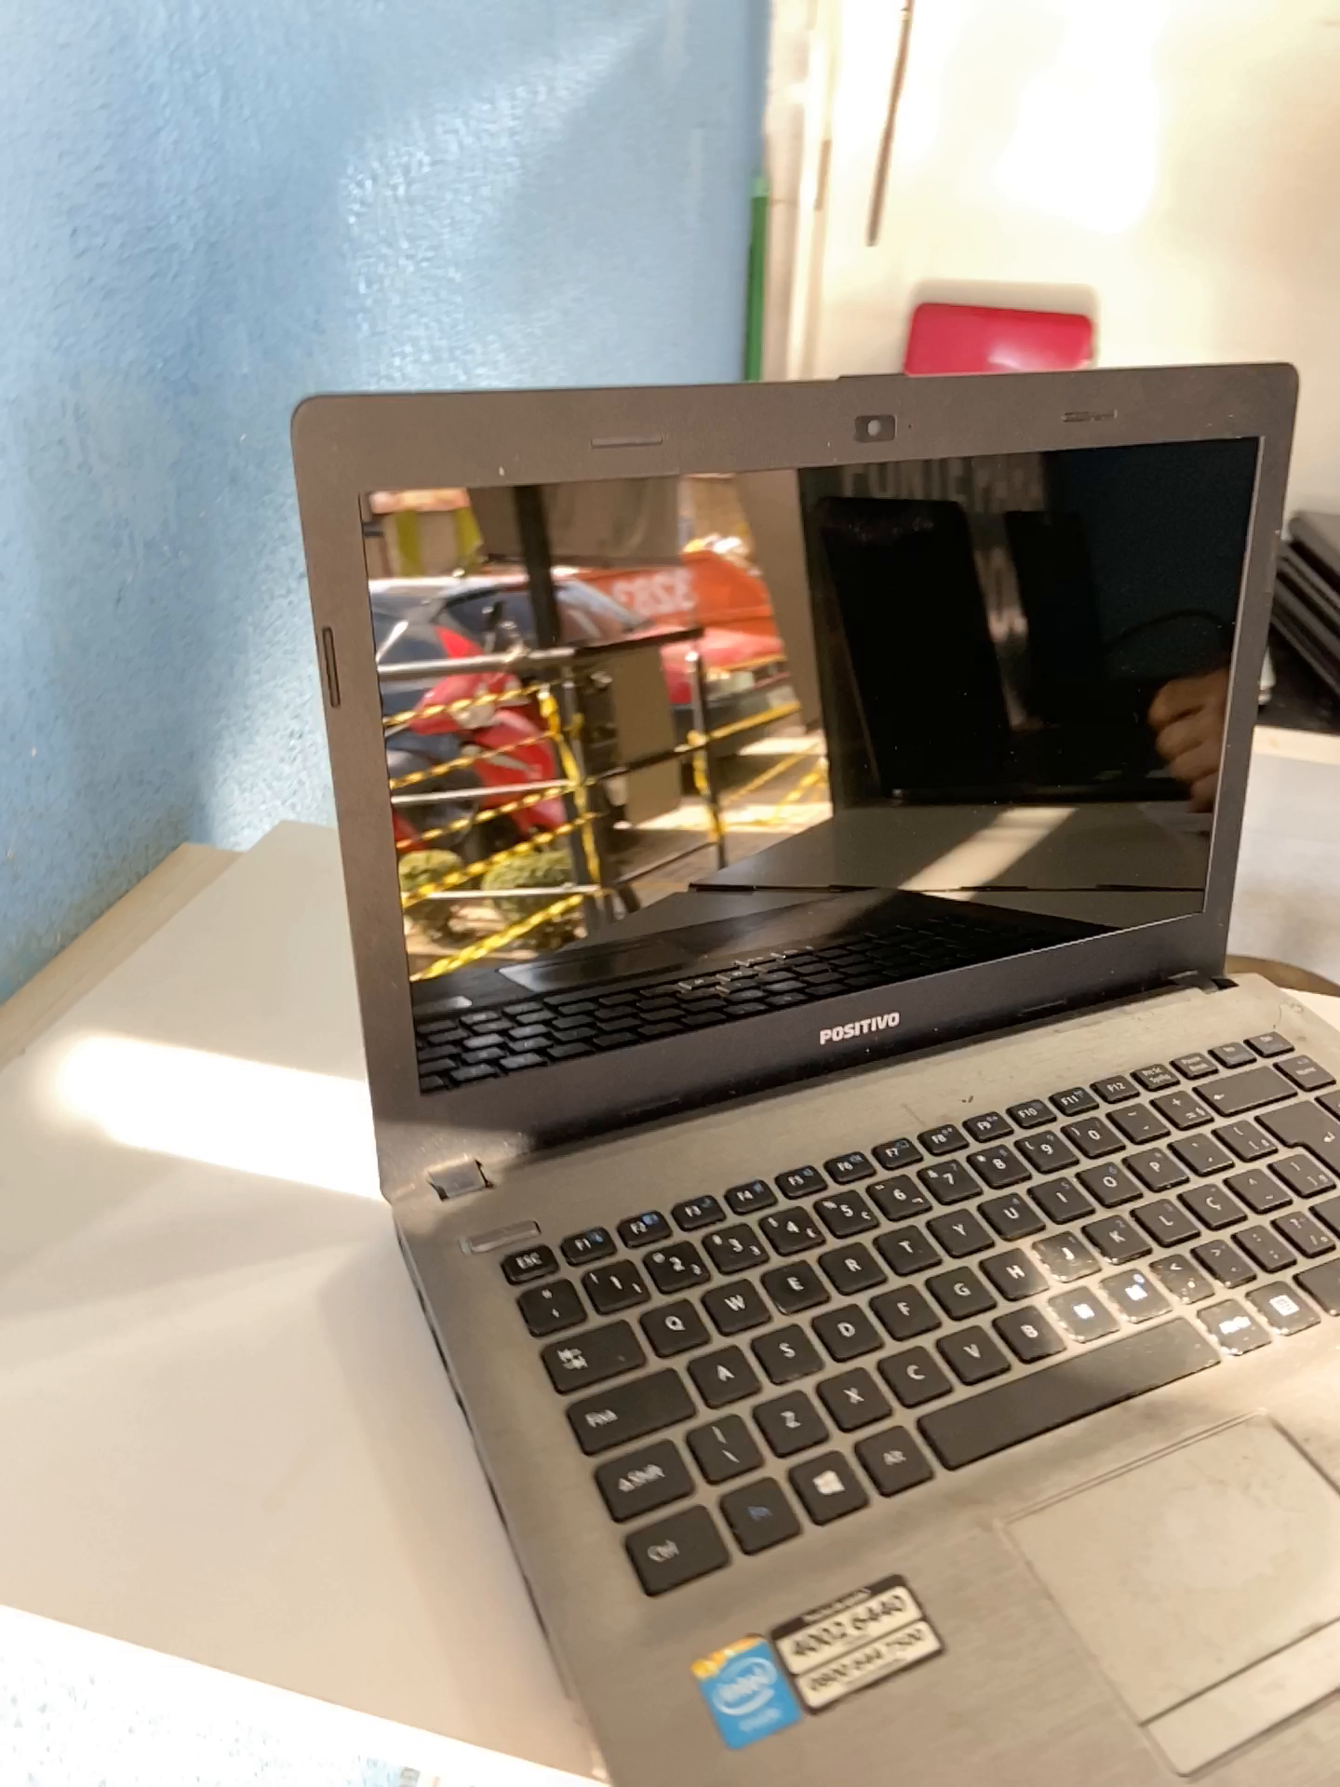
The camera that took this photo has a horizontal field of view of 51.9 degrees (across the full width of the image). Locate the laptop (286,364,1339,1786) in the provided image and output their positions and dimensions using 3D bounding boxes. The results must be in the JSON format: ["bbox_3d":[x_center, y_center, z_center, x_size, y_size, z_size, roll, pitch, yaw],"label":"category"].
[{"bbox_3d":[0.112,0.010,0.348,0.335,0.211,0.284,-11,33,-22],"label":"laptop"}]
